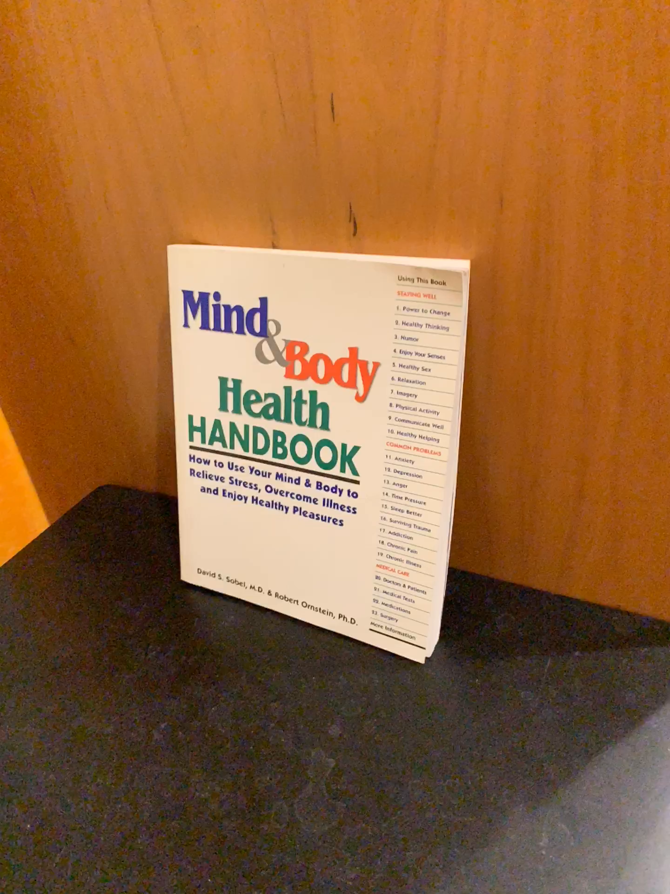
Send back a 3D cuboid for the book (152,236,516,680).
[{"bbox_3d":[-0.014,-0.003,0.419,0.210,0.229,0.040,12,19,26],"label":"book"}]
